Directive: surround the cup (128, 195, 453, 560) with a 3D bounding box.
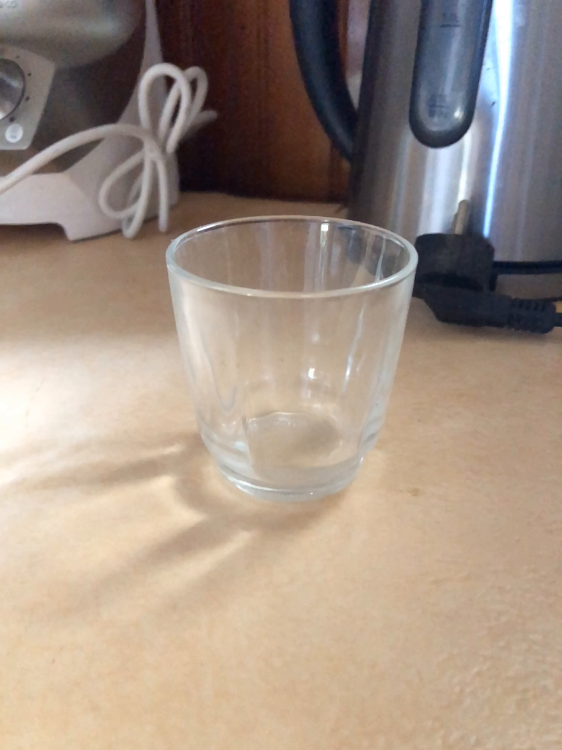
[{"bbox_3d":[-0.001,-0.005,0.198,0.070,0.080,0.070,0,29,0],"label":"cup"}]
